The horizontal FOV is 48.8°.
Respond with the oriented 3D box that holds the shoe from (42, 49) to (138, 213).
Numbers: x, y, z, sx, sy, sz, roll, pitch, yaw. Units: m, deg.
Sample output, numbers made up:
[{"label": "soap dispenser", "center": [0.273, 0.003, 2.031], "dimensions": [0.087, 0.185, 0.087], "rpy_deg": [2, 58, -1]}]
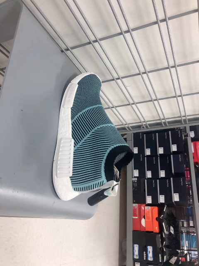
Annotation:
[{"label": "shoe", "center": [0.000, -0.003, 0.452], "dimensions": [0.121, 0.129, 0.300], "rpy_deg": [49, 41, -55]}]
